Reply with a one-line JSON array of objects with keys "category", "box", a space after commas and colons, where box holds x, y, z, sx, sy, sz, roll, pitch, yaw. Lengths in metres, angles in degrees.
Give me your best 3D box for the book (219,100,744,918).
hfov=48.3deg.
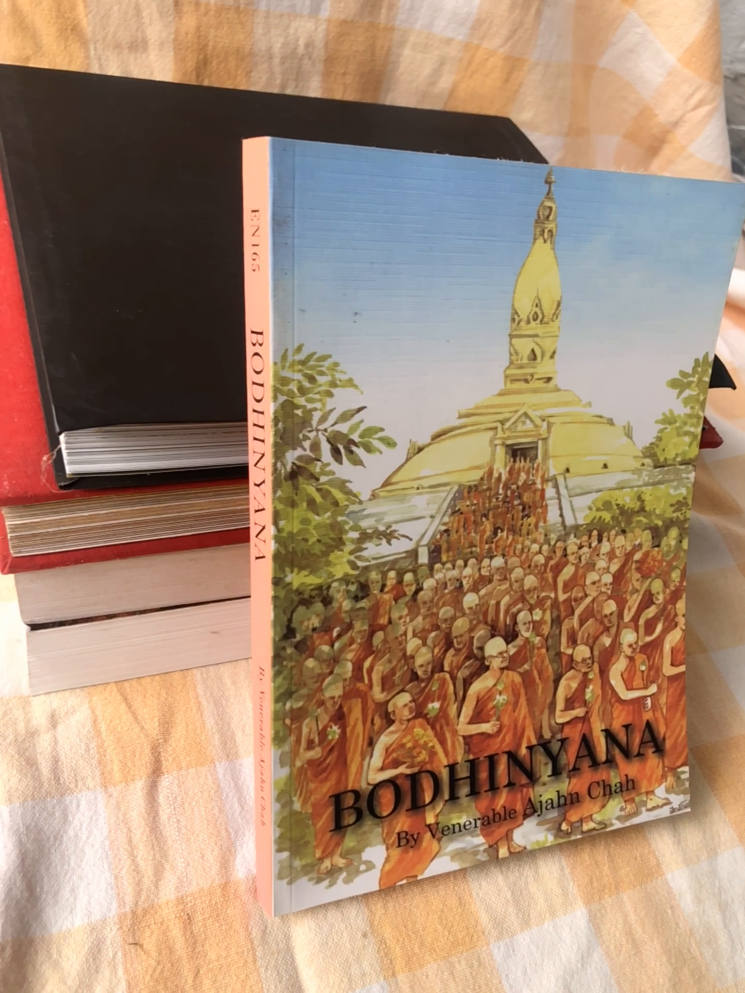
[{"category": "book", "box": [0.035, 0.006, 0.239, 0.150, 0.200, 0.030, -3, 13, -22]}]
